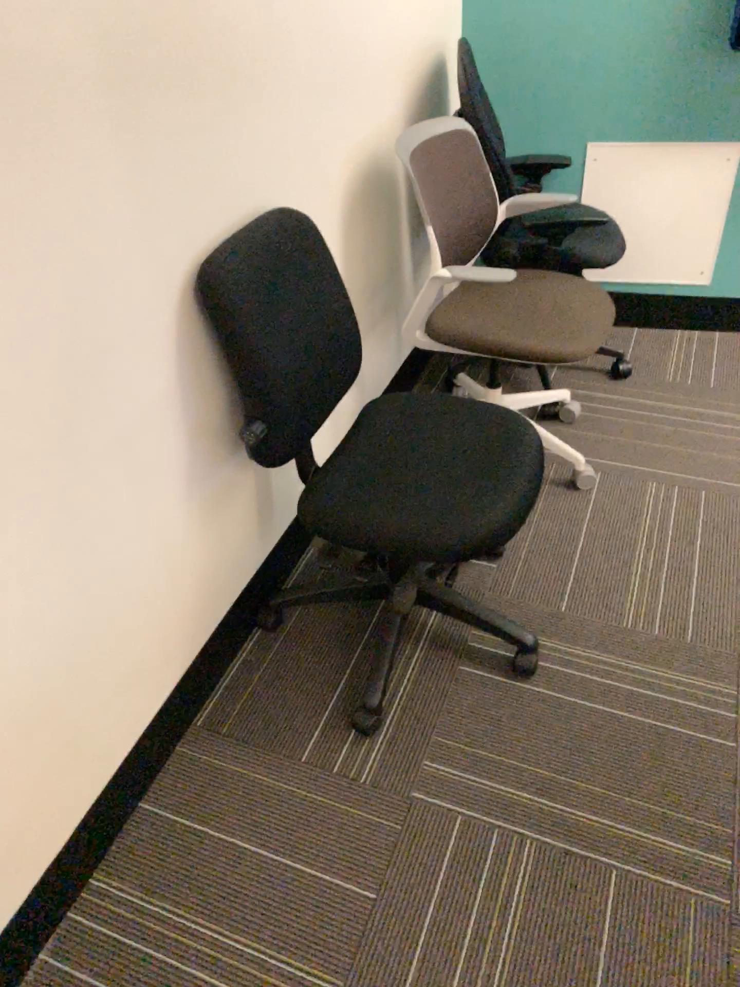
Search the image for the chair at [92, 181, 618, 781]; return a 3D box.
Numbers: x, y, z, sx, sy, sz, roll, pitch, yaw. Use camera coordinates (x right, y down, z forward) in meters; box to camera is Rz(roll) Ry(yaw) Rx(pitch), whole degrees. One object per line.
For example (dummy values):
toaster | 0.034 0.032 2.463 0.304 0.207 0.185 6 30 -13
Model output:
chair | 0.046 -0.045 1.649 0.741 0.994 0.683 11 42 18
